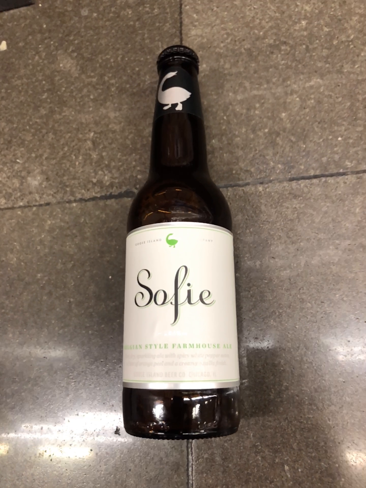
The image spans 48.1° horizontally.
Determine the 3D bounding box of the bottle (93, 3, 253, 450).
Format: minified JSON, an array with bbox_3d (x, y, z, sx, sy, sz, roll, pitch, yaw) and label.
[{"bbox_3d":[-0.006,-0.019,0.234,0.070,0.040,0.240,-5,73,12],"label":"bottle"}]
